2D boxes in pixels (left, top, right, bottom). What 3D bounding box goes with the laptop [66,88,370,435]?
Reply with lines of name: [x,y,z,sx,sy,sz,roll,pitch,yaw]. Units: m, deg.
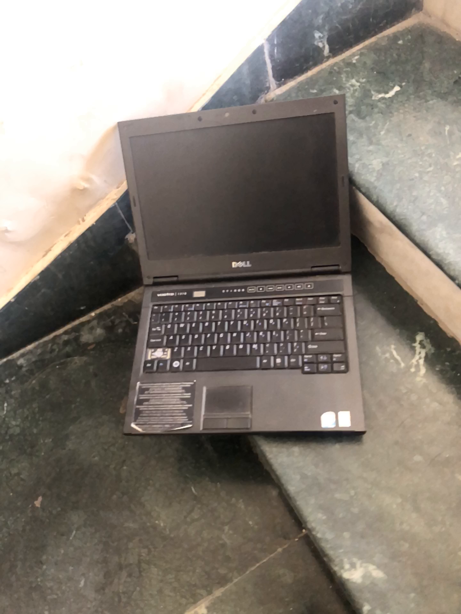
laptop: [0.002,-0.055,0.655,0.302,0.169,0.387,-2,62,10]
